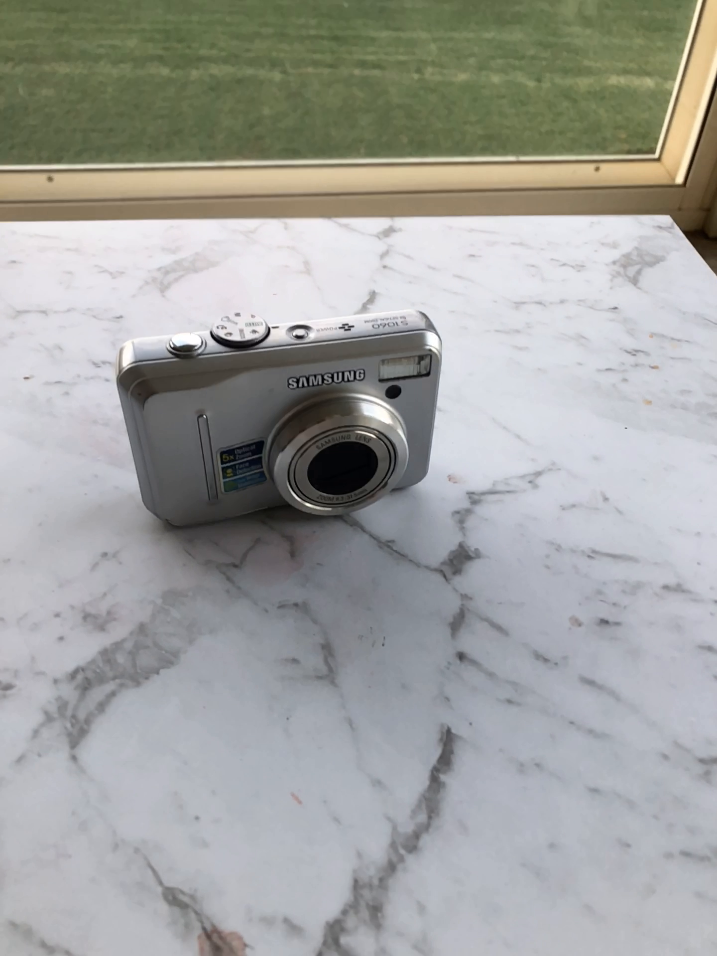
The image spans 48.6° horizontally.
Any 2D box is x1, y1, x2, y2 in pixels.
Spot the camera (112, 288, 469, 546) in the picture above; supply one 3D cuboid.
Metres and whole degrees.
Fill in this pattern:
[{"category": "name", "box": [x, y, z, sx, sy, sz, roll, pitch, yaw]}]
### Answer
[{"category": "camera", "box": [-0.021, -0.019, 0.252, 0.099, 0.061, 0.034, -9, 44, -11]}]
